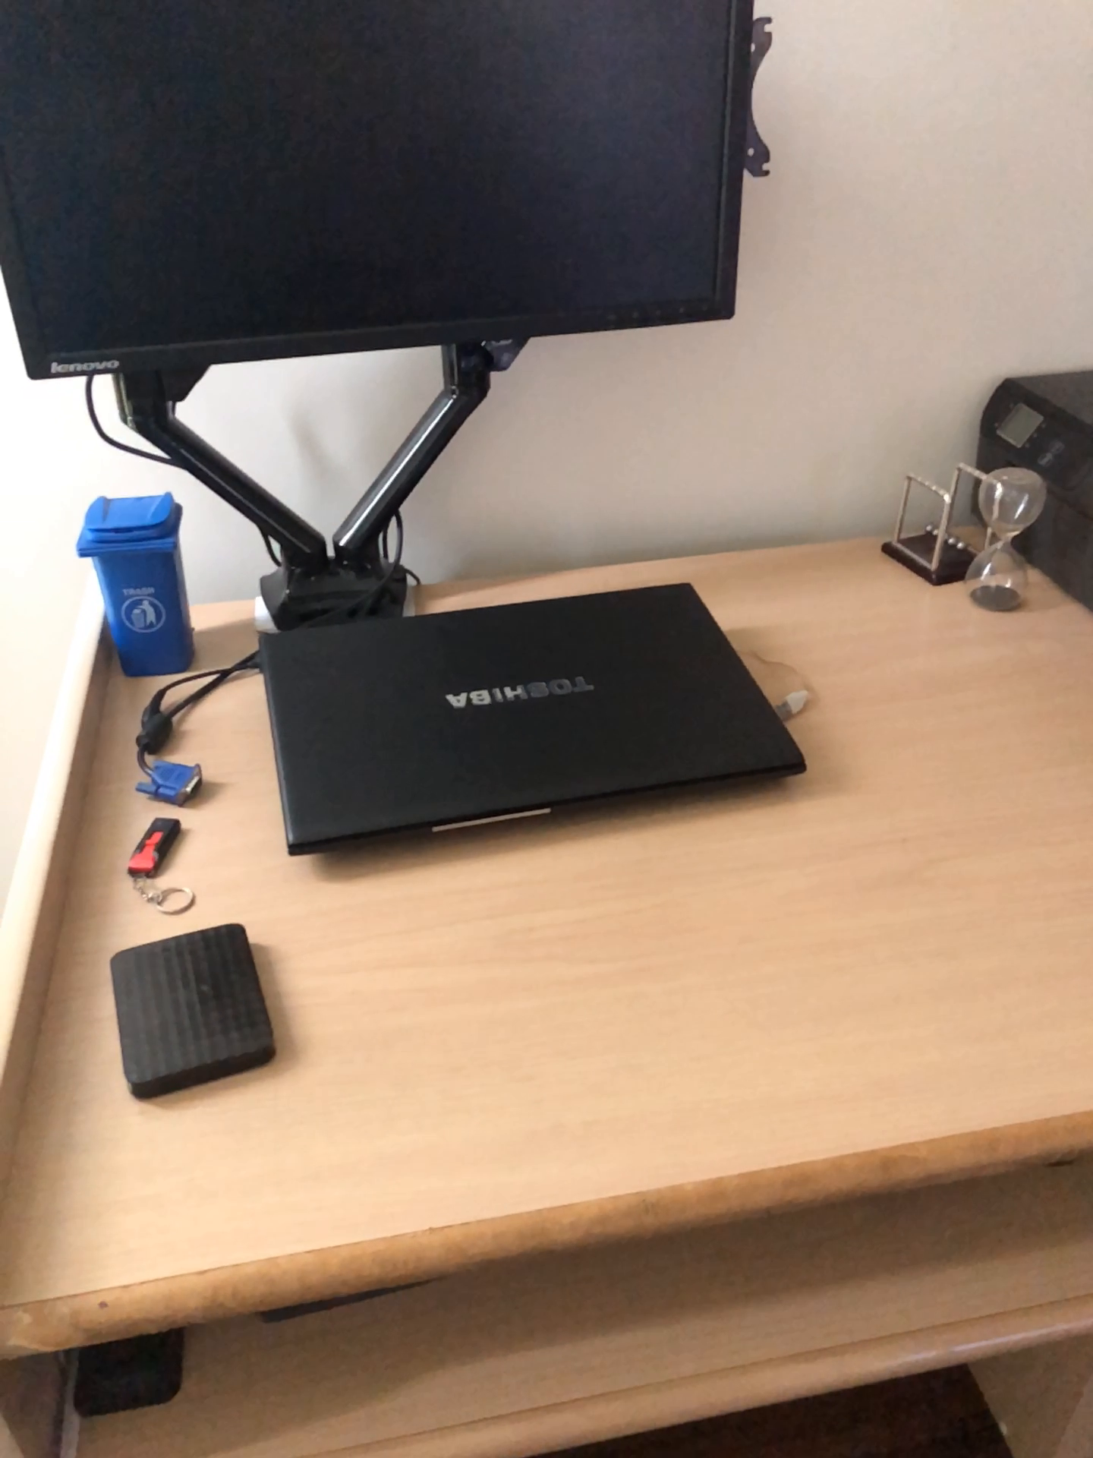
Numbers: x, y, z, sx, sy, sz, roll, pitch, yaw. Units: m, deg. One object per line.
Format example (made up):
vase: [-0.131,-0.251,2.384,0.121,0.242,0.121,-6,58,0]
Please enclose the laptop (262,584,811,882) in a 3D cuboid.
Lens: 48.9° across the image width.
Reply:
laptop: [-0.020,-0.013,0.958,0.380,0.029,0.258,-8,40,-13]
